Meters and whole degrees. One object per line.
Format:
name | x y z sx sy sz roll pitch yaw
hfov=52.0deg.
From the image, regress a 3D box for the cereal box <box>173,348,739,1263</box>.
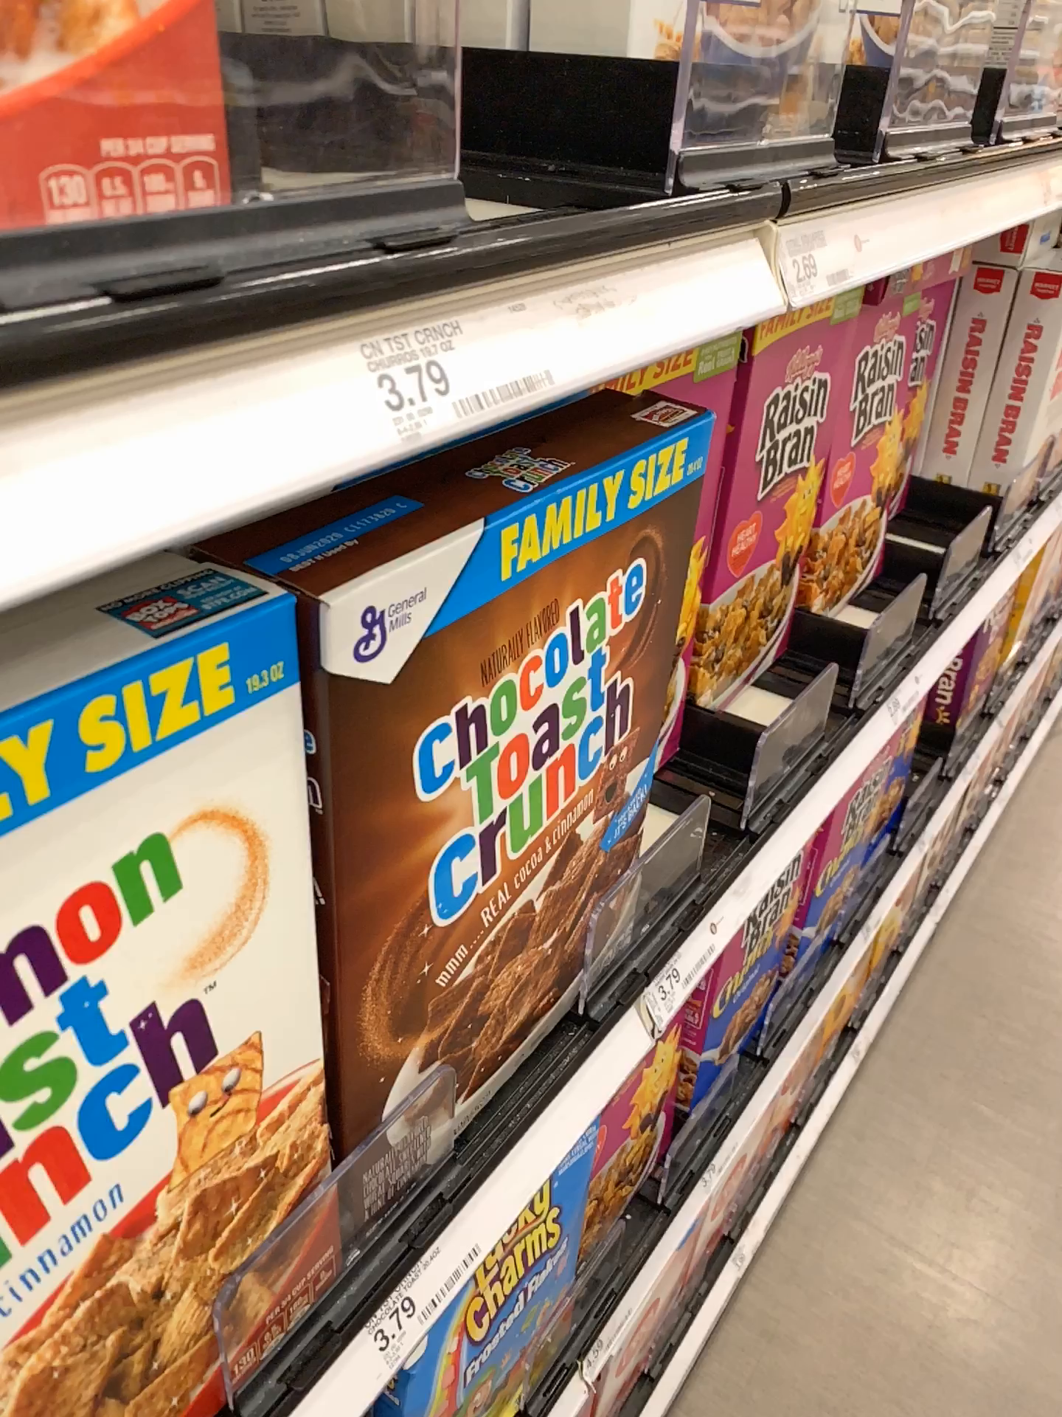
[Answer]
cereal box | -0.017 0.034 0.458 0.060 0.308 0.241 23 37 27
